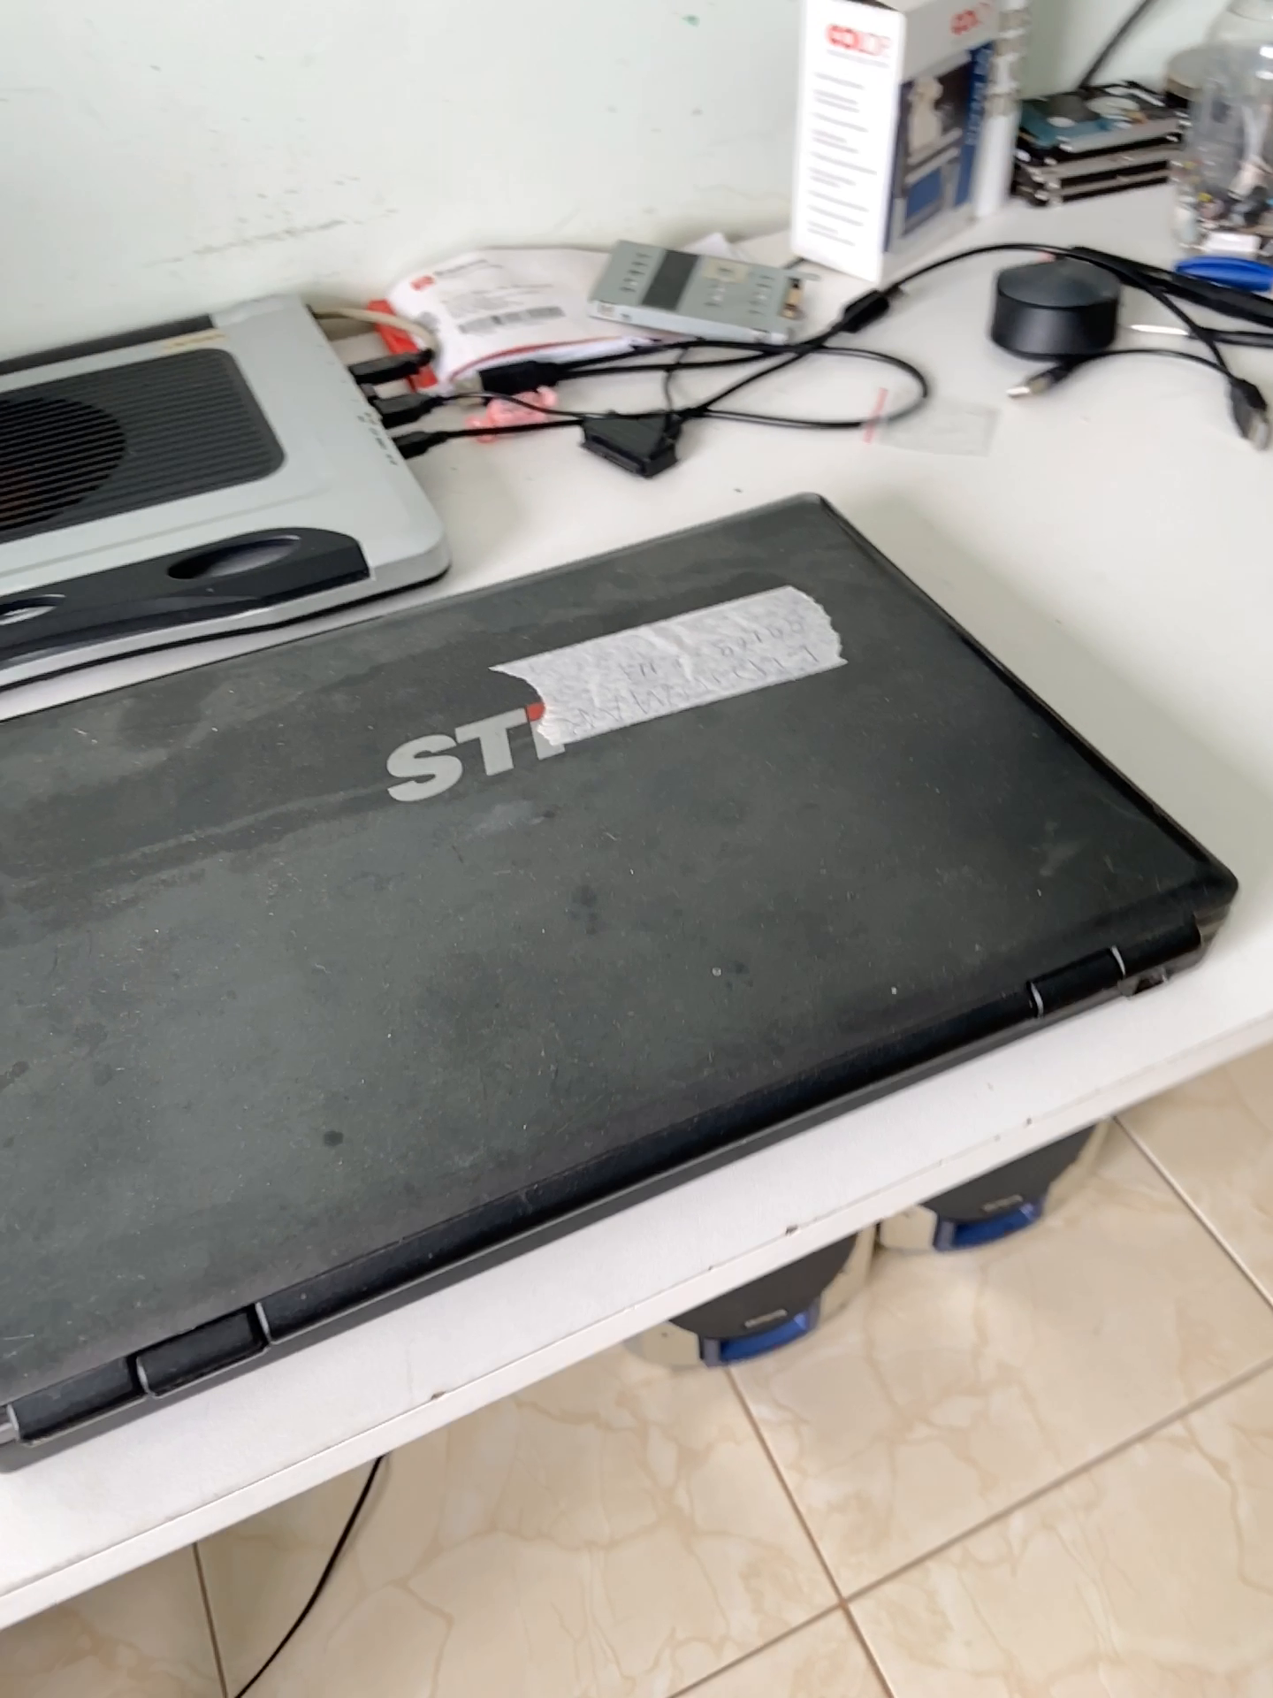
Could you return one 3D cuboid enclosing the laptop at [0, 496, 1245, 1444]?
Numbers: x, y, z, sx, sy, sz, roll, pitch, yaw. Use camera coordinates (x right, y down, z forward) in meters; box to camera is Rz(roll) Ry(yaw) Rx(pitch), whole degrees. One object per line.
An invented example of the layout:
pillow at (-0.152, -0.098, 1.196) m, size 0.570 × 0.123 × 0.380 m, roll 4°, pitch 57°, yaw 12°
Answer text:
laptop at (-0.038, -0.005, 0.393) m, size 0.338 × 0.006 × 0.235 m, roll -20°, pitch 47°, yaw -13°
